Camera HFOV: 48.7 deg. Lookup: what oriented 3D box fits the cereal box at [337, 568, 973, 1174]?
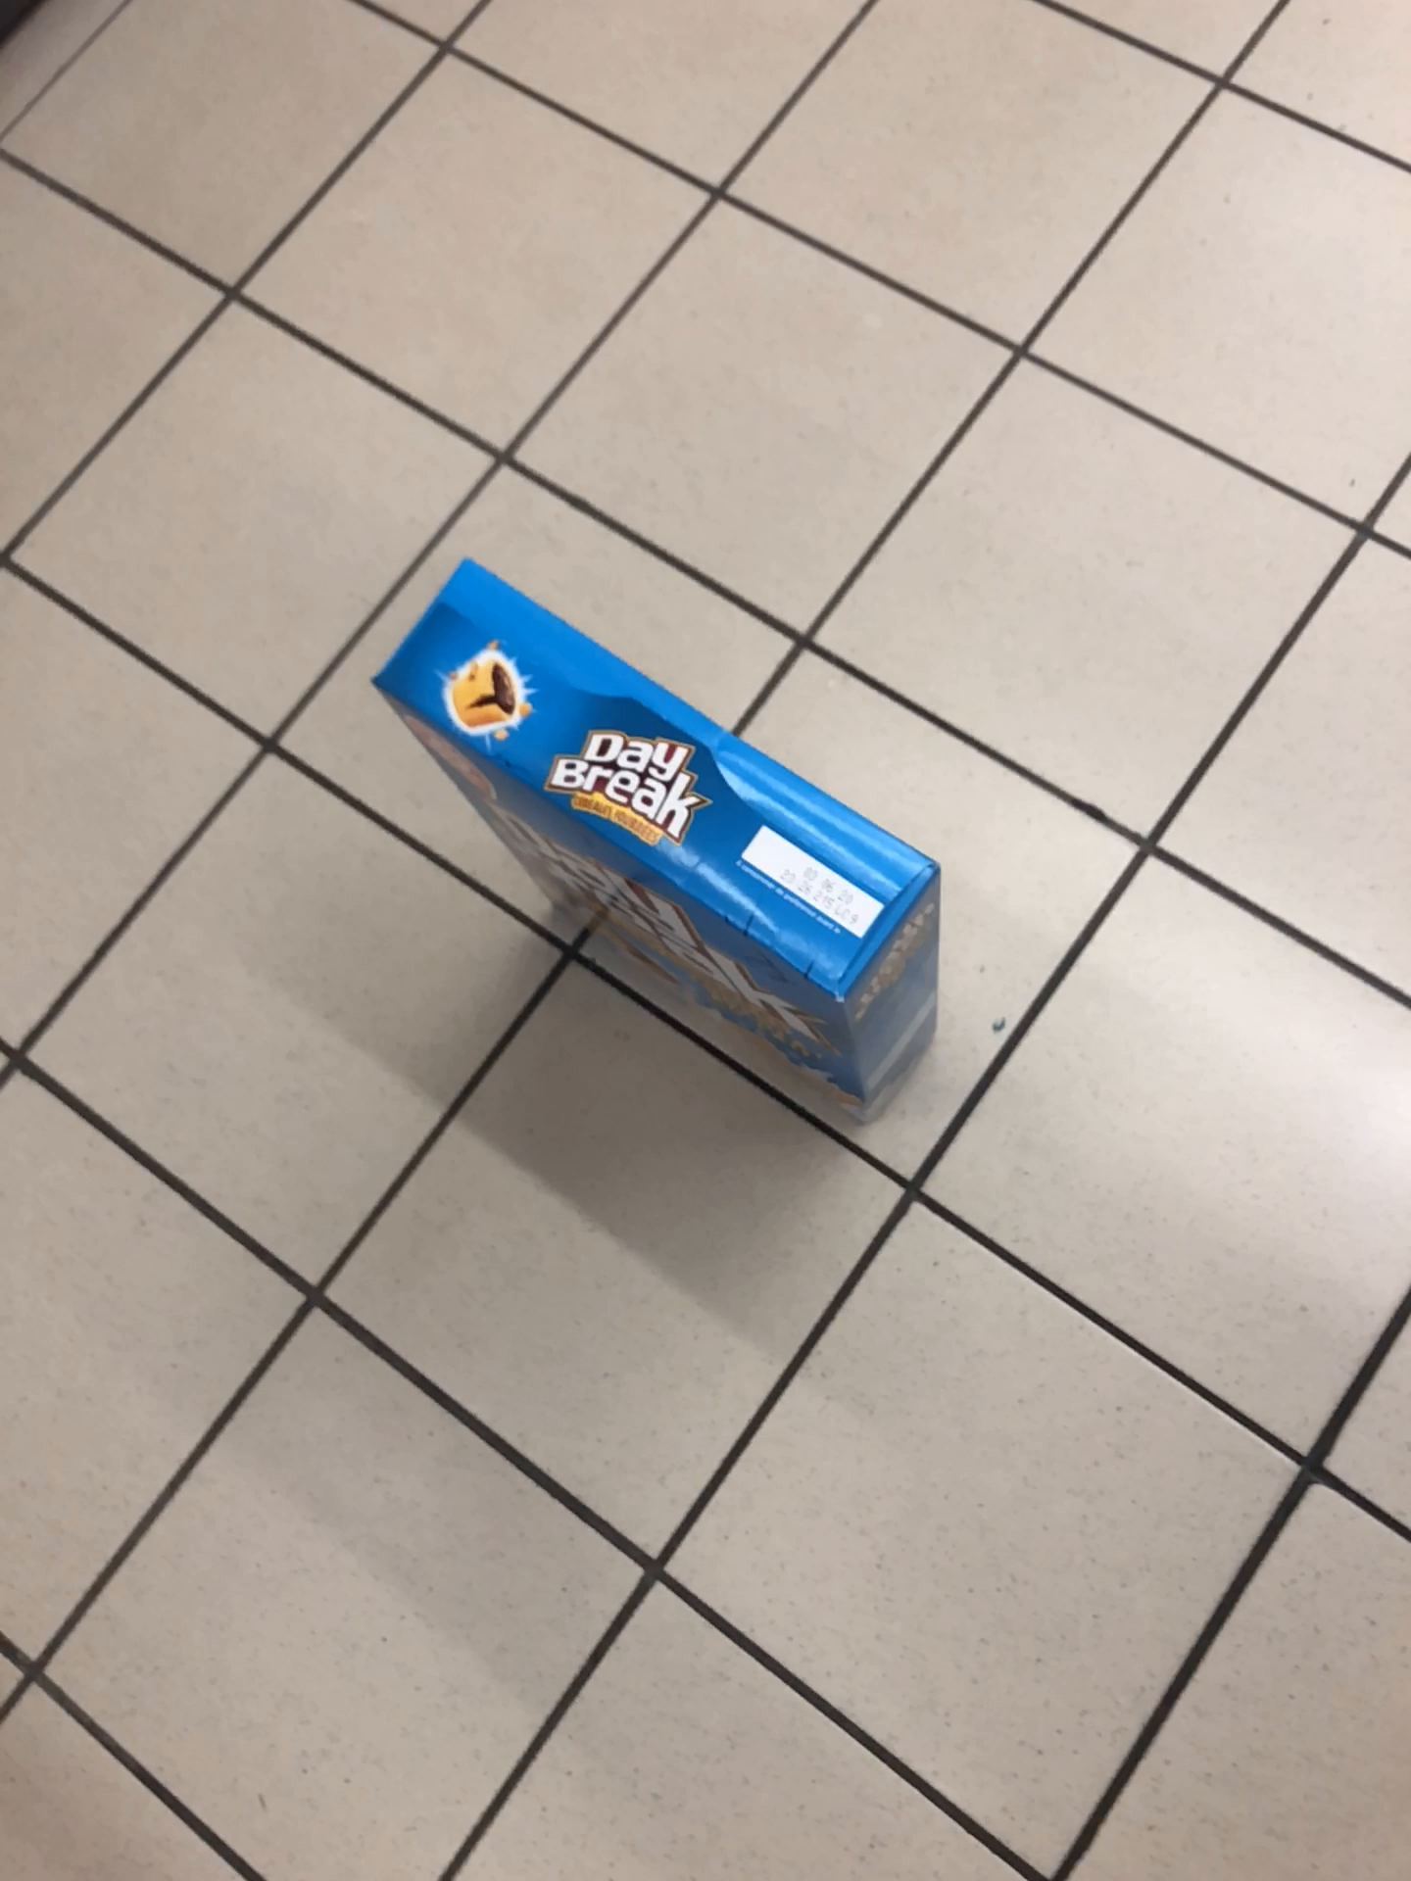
[{"bbox_3d":[-0.004,-0.009,0.615,0.200,0.260,0.070,34,82,14],"label":"cereal box"}]
